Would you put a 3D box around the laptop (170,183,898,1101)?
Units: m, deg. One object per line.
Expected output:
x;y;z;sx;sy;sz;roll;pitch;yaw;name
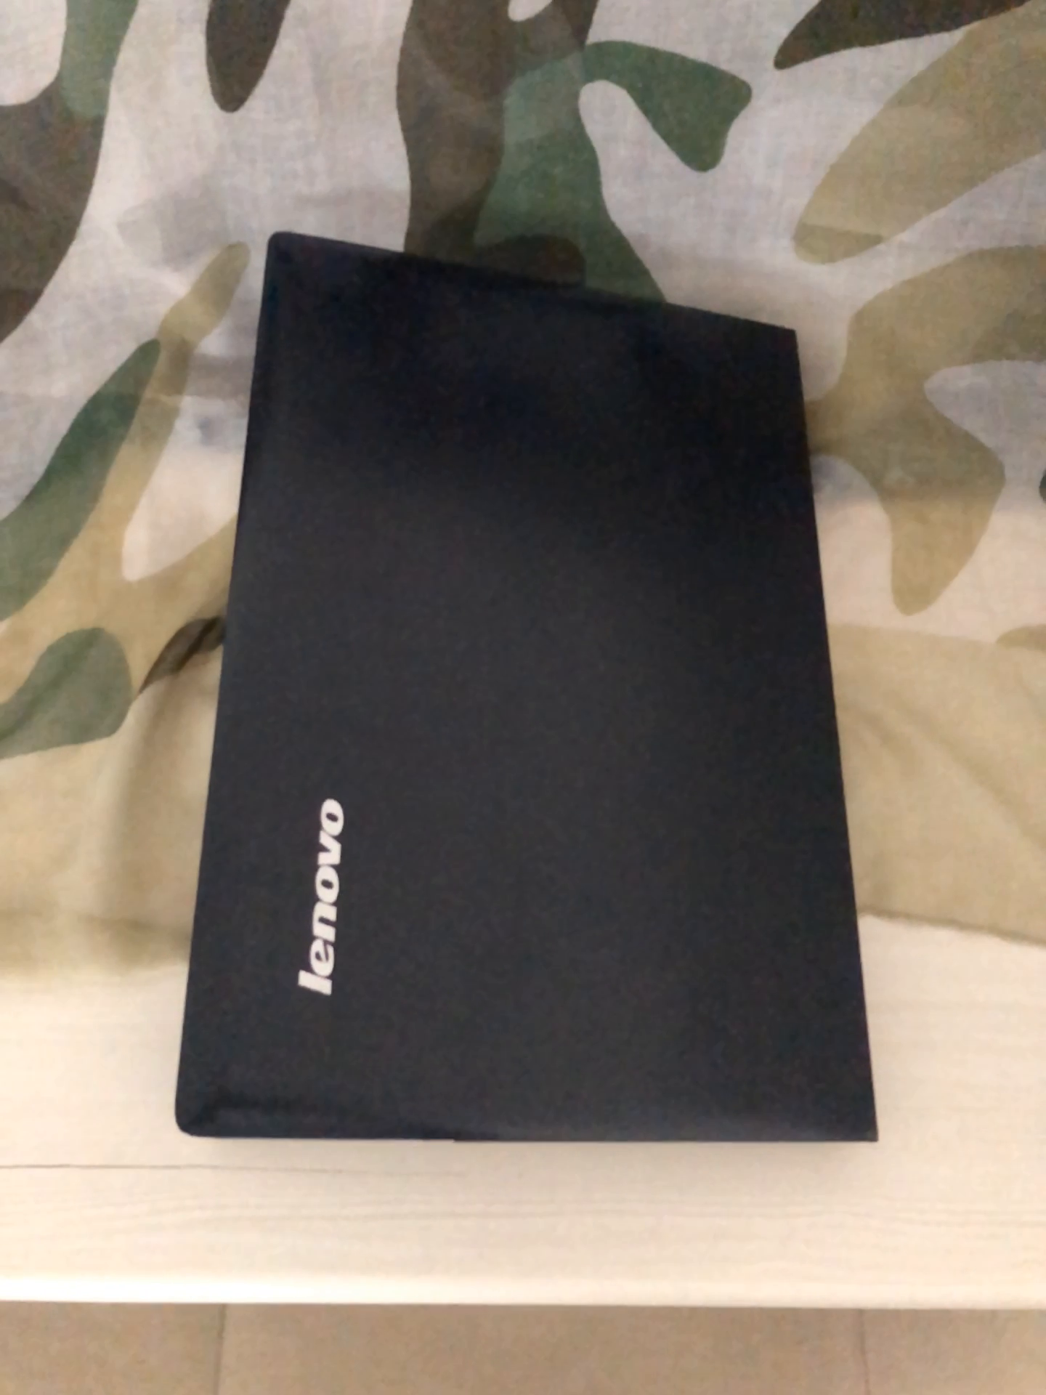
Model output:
0.009;-0.037;0.494;0.249;0.059;0.386;3;68;-4;laptop
